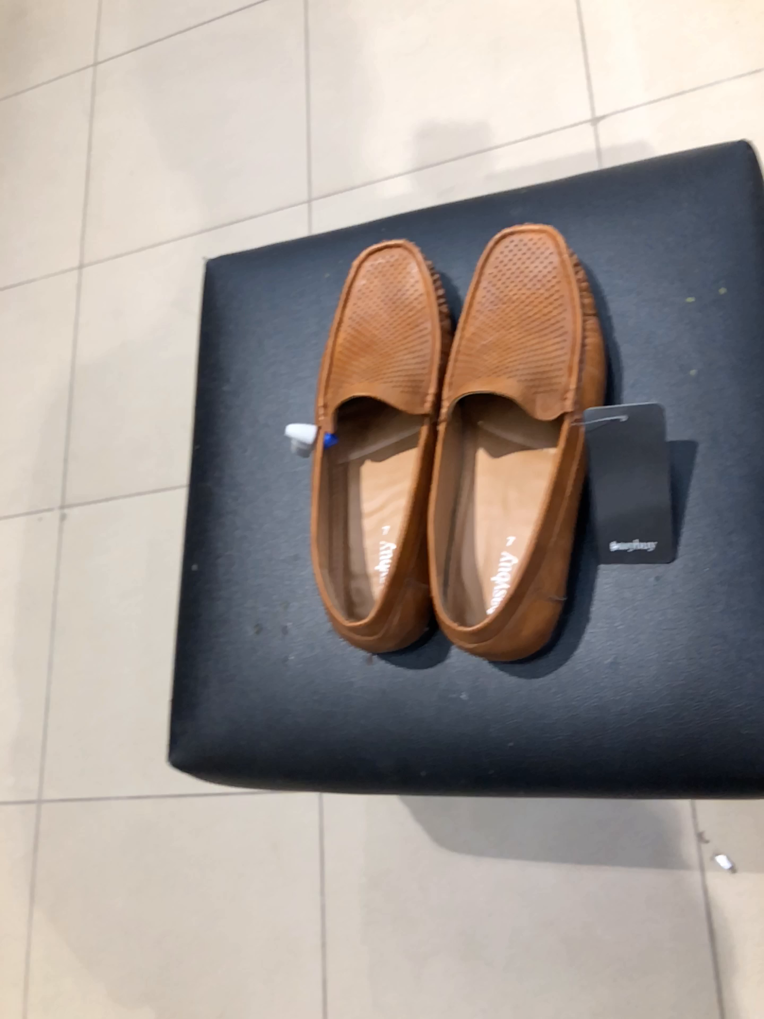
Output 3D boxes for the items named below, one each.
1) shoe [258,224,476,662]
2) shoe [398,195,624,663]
[{"bbox_3d":[-0.002,-0.036,0.539,0.097,0.096,0.253,-3,73,21],"label":"shoe"},{"bbox_3d":[0.085,-0.044,0.508,0.097,0.096,0.253,1,75,22],"label":"shoe"}]
